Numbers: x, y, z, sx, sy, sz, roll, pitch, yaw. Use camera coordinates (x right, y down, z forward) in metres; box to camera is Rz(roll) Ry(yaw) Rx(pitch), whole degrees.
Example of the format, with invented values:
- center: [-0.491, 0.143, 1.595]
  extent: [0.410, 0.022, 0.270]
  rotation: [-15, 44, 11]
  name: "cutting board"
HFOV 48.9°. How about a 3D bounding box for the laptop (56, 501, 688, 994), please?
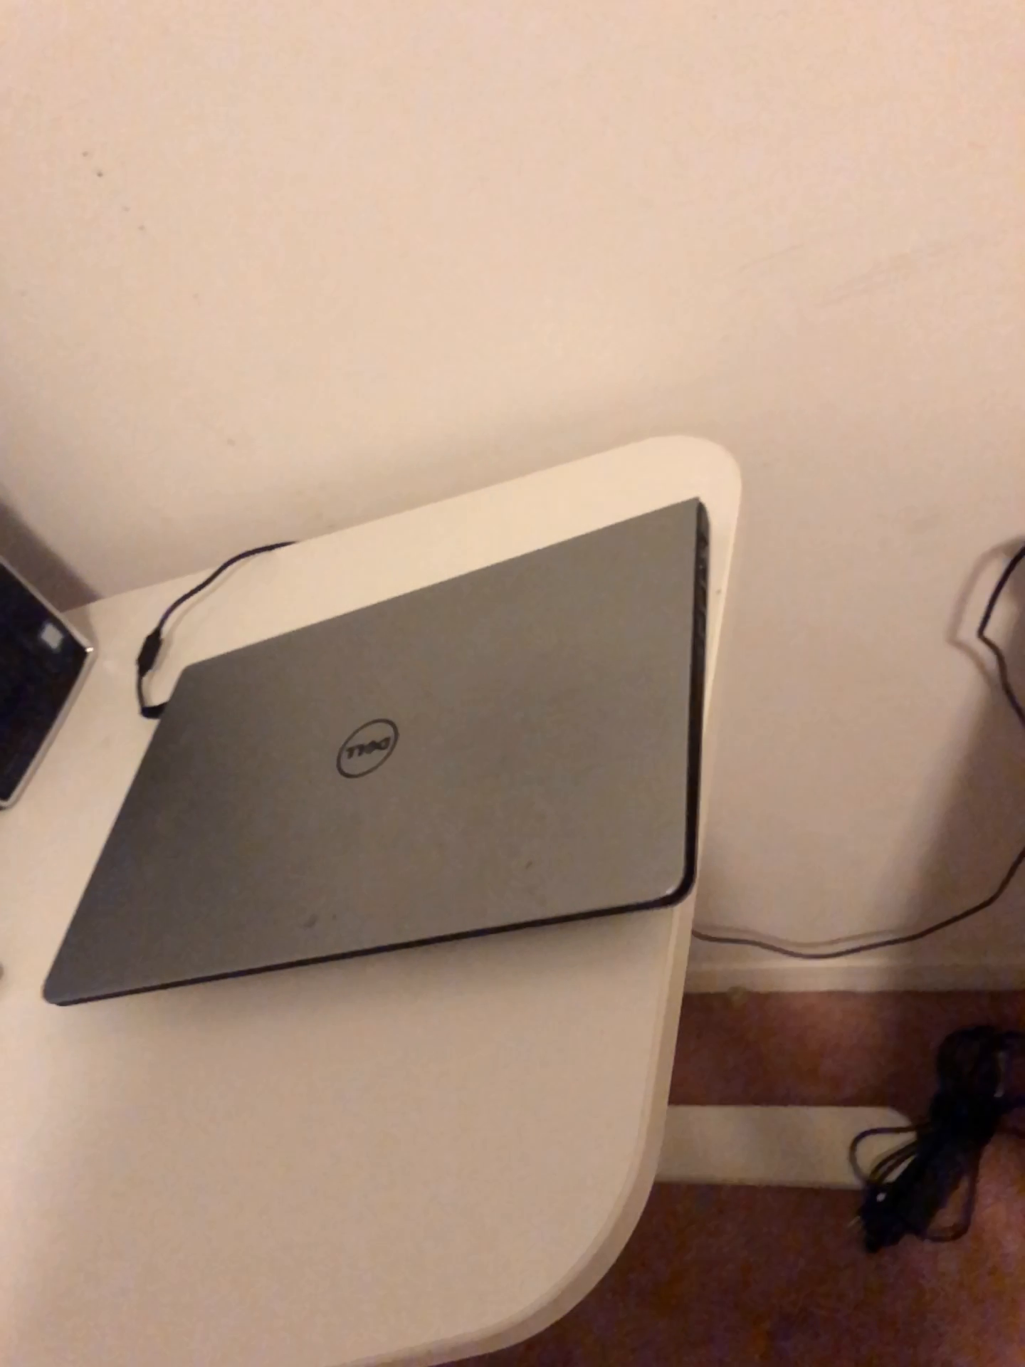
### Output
- center: [-0.078, 0.036, 0.619]
  extent: [0.372, 0.001, 0.247]
  rotation: [-16, 43, 27]
  name: "laptop"
